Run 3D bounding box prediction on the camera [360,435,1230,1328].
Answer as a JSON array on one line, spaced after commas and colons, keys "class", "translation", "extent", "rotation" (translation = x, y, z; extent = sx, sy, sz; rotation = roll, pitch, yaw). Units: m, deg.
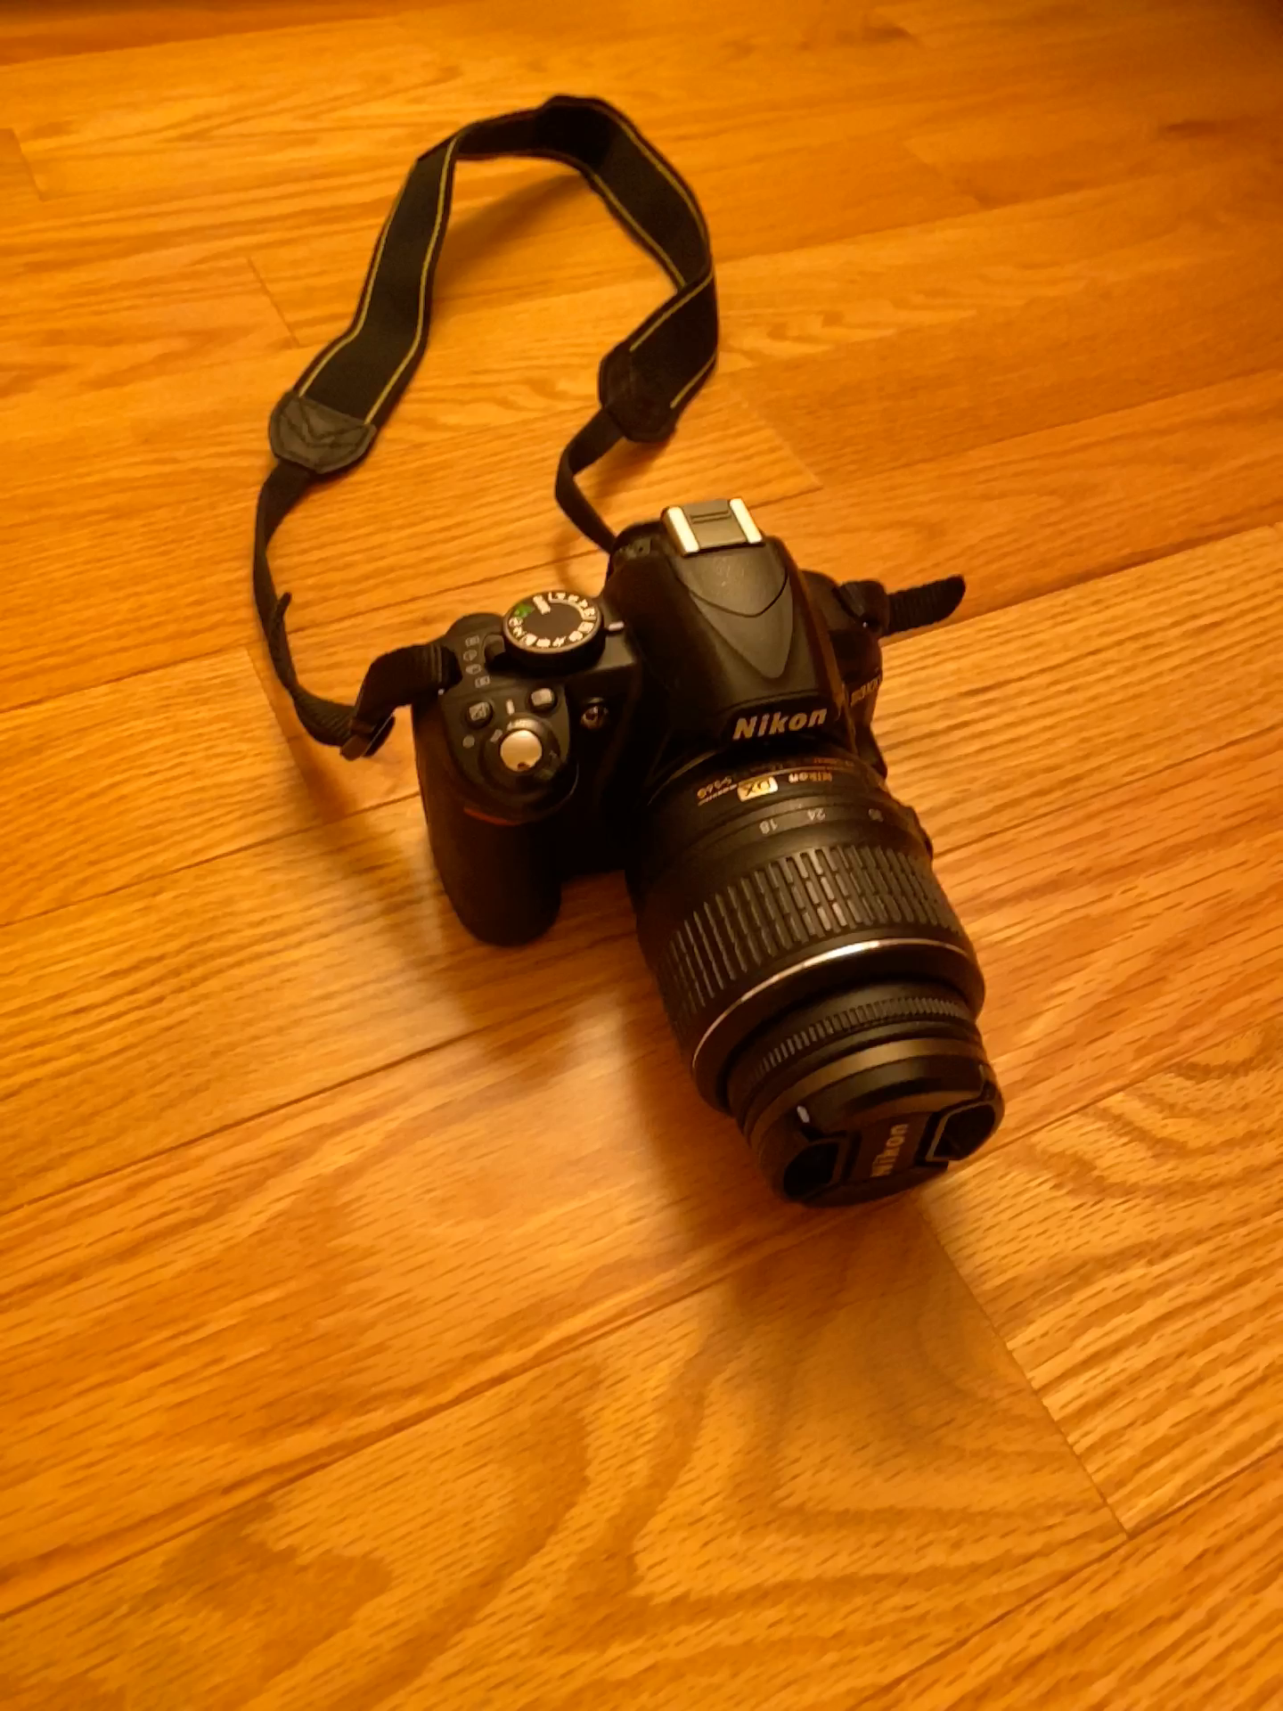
[{"class": "camera", "translation": [0.019, -0.002, 0.313], "extent": [0.130, 0.099, 0.161], "rotation": [-13, 52, -13]}]
